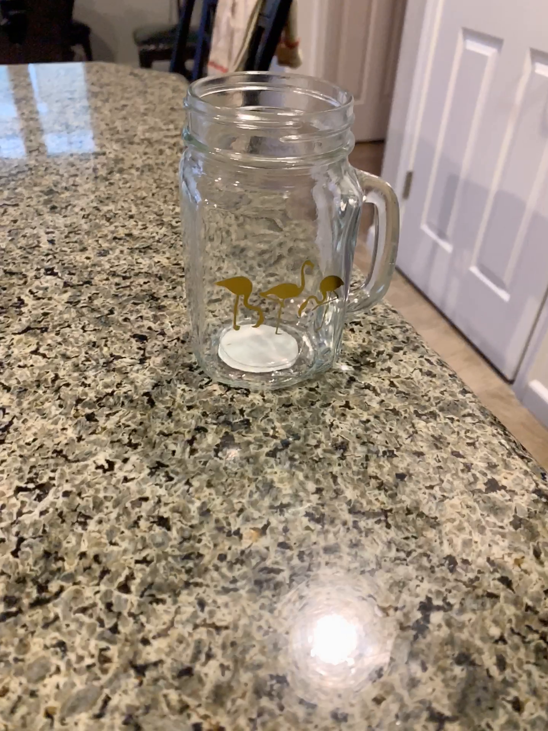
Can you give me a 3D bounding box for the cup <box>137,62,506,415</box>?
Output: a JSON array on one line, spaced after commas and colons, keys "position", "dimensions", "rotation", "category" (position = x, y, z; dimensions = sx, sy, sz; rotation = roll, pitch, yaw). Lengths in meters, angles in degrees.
[{"position": [0.011, -0.059, 0.253], "dimensions": [0.120, 0.119, 0.081], "rotation": [-9, 40, -14], "category": "cup"}]
